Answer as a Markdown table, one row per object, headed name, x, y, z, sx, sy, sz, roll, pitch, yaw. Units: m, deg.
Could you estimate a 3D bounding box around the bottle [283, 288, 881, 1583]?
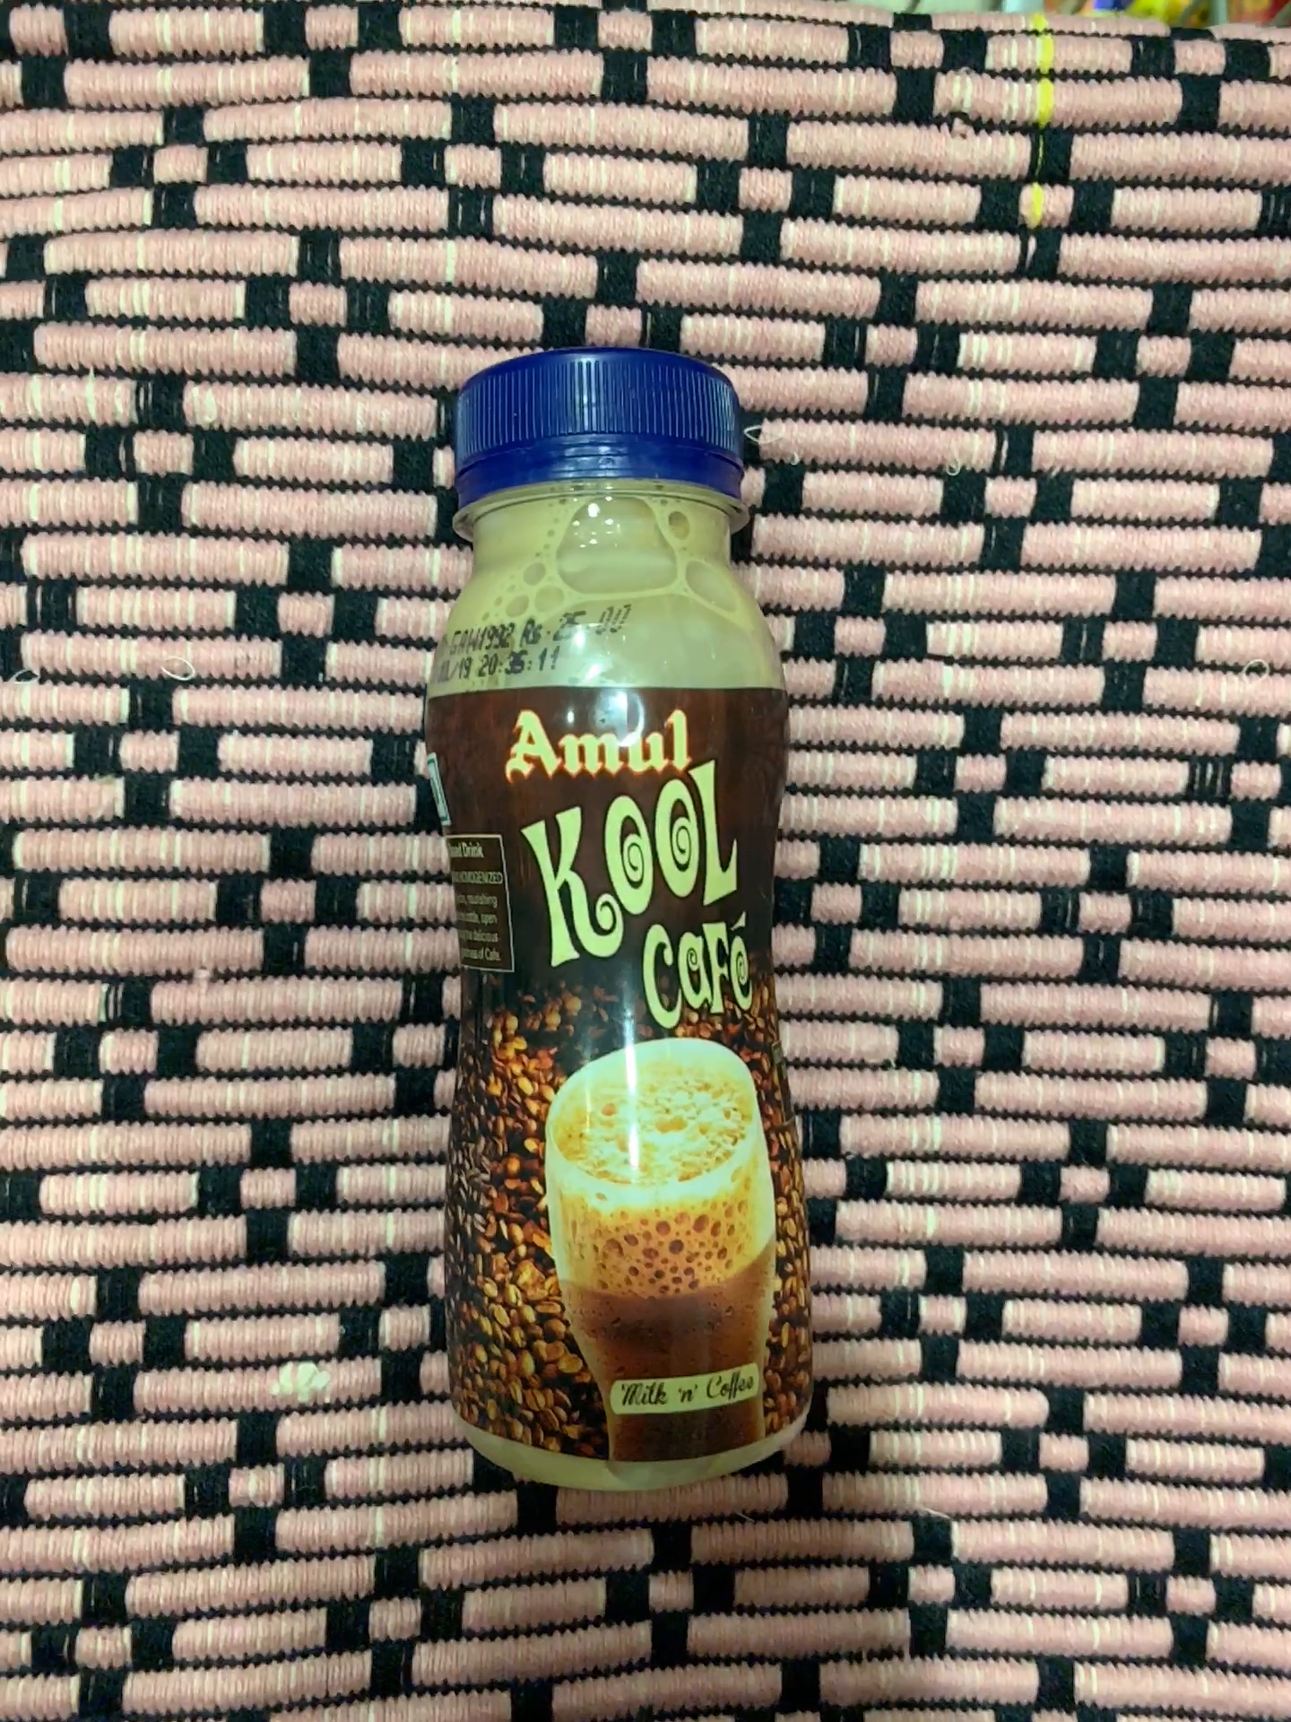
| name | x | y | z | sx | sy | sz | roll | pitch | yaw |
| --- | --- | --- | --- | --- | --- | --- | --- | --- | --- |
| bottle | -0.011 | 0.007 | 0.175 | 0.060 | 0.050 | 0.140 | -3 | 87 | -9 |
